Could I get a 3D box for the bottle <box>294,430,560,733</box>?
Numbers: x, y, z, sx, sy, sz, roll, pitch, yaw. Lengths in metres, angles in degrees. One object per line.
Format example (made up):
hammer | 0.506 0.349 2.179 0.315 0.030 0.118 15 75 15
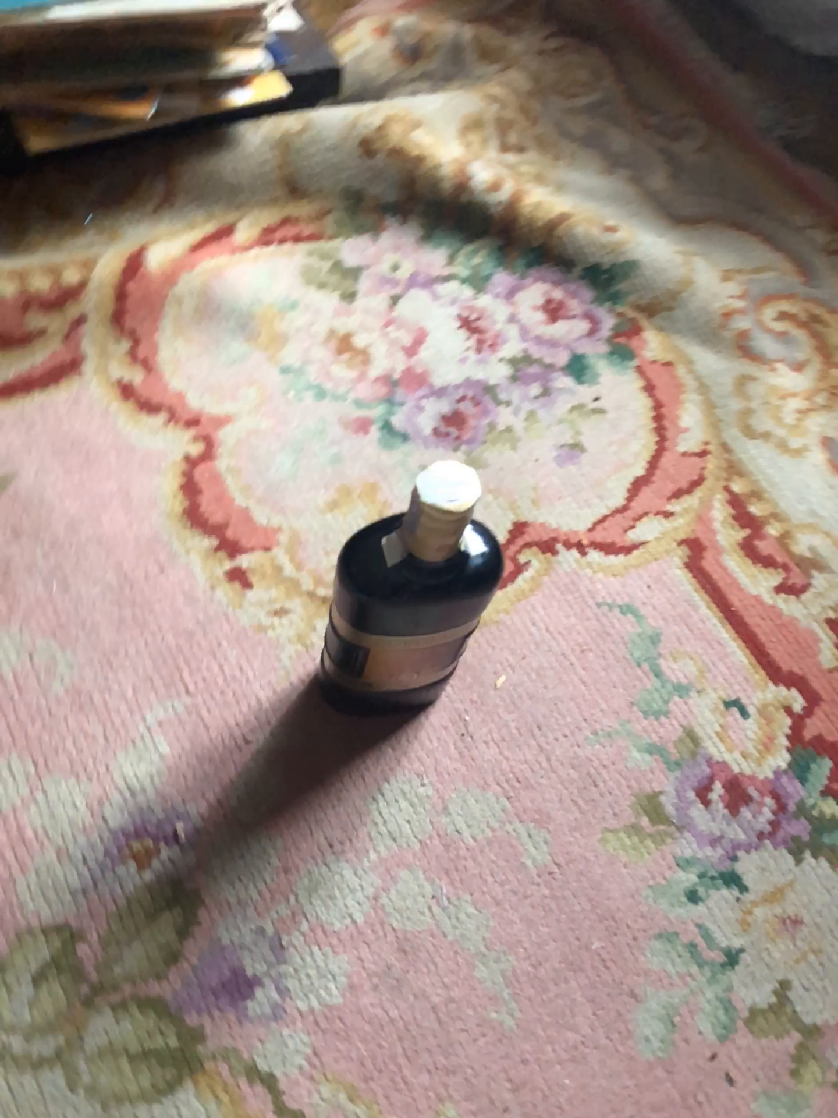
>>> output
bottle | -0.011 0.025 0.493 0.100 0.239 0.050 -3 61 -12
